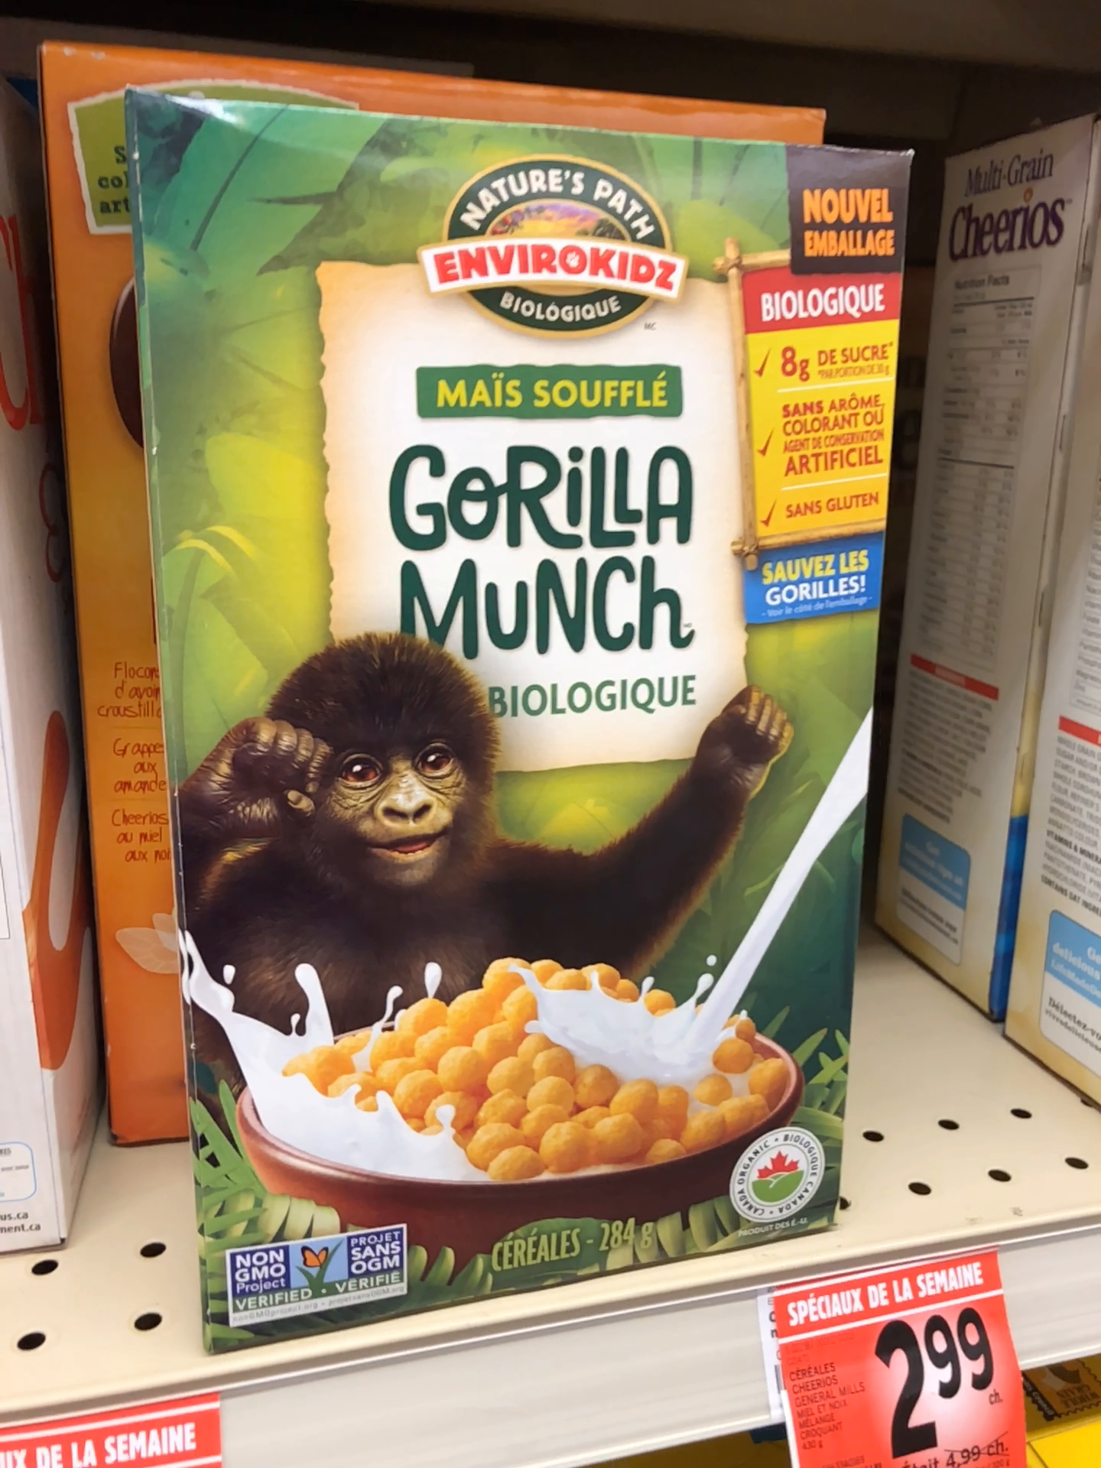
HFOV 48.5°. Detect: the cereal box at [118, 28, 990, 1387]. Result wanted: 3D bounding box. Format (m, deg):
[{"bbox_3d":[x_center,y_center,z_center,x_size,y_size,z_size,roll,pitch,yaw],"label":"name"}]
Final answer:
[{"bbox_3d":[-0.003,0.001,0.276,0.160,0.259,0.060,-4,16,-17],"label":"cereal box"}]
